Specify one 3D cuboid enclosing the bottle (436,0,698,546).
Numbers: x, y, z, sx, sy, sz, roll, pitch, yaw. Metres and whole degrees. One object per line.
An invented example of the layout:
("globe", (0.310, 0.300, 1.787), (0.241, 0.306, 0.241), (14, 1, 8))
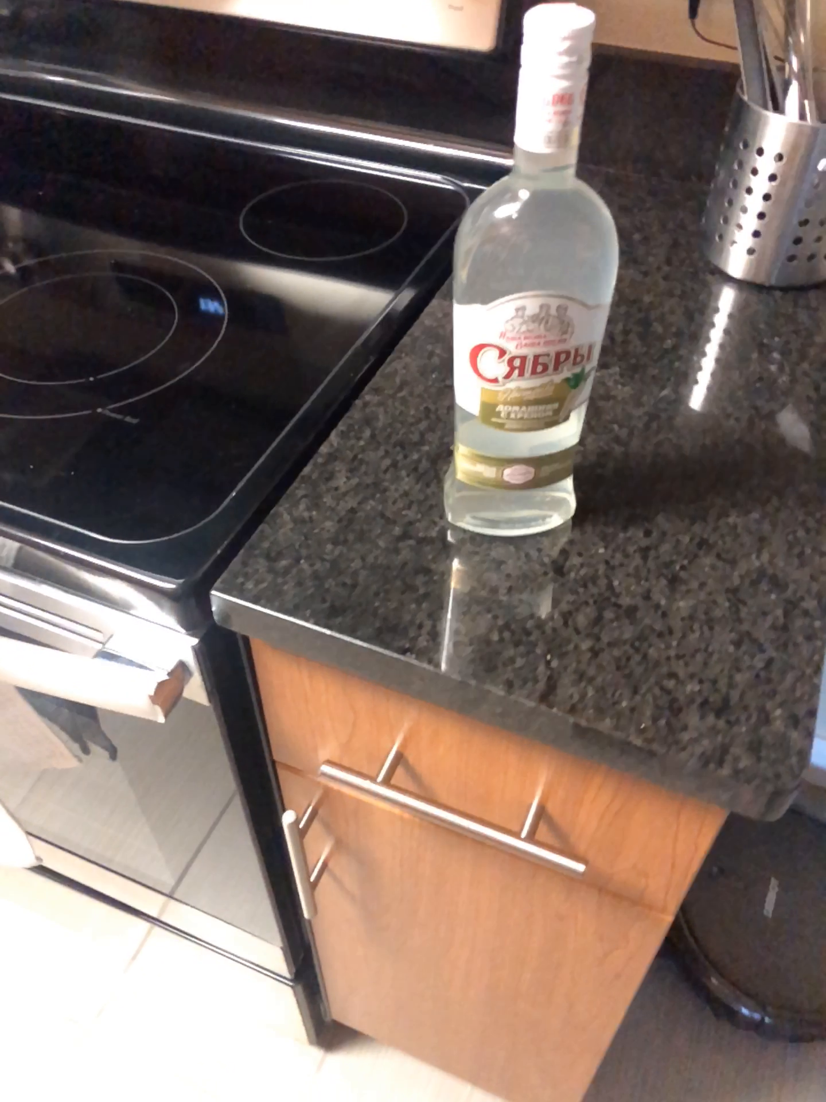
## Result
("bottle", (0.060, -0.120, 0.450), (0.090, 0.269, 0.060), (2, 46, 2))
